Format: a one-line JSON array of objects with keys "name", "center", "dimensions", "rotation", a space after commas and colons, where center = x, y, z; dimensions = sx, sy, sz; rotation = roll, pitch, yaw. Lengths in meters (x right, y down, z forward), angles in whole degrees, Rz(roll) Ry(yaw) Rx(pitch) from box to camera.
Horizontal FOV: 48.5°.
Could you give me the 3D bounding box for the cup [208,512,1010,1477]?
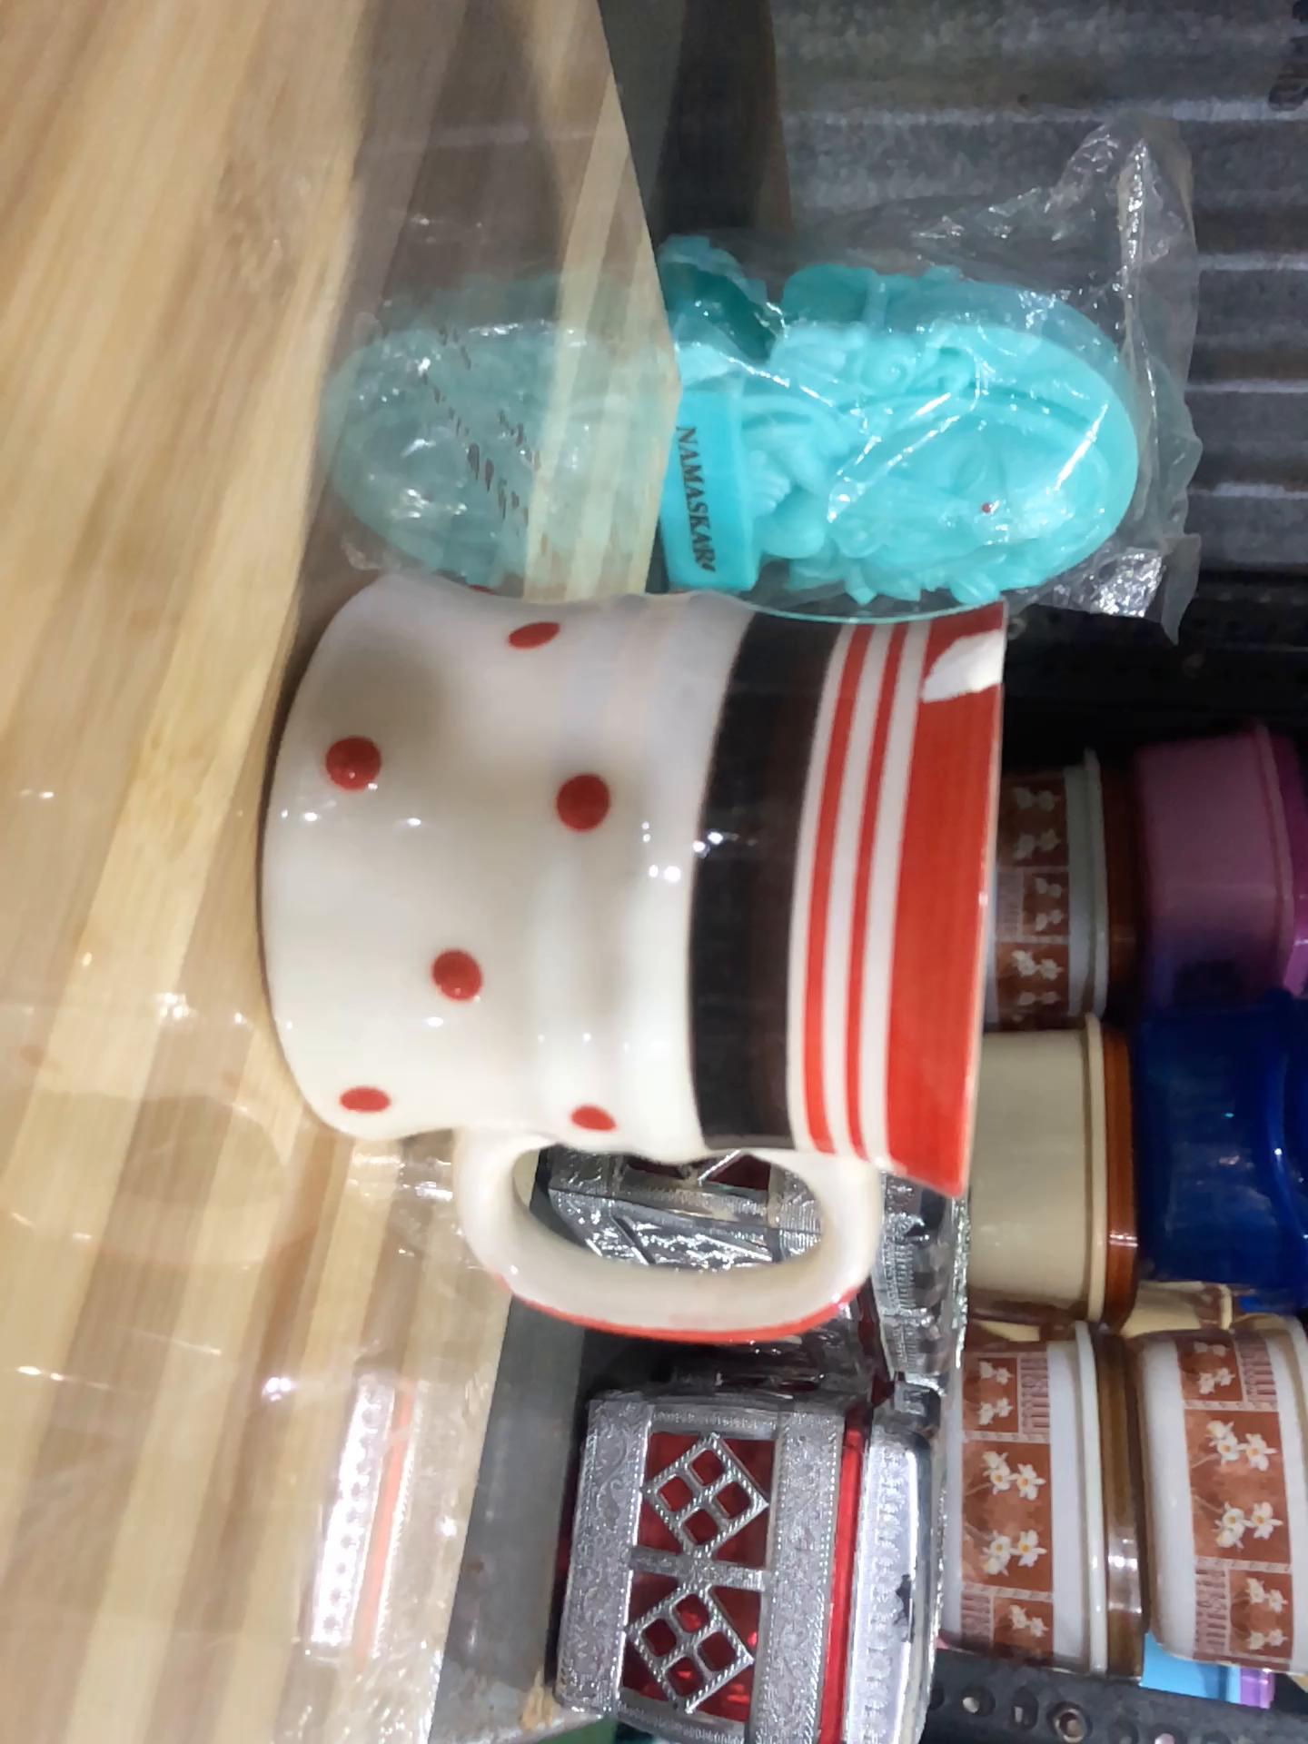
[{"name": "cup", "center": [0.004, 0.007, 0.223], "dimensions": [0.100, 0.090, 0.110], "rotation": [3, 90, -78]}]
